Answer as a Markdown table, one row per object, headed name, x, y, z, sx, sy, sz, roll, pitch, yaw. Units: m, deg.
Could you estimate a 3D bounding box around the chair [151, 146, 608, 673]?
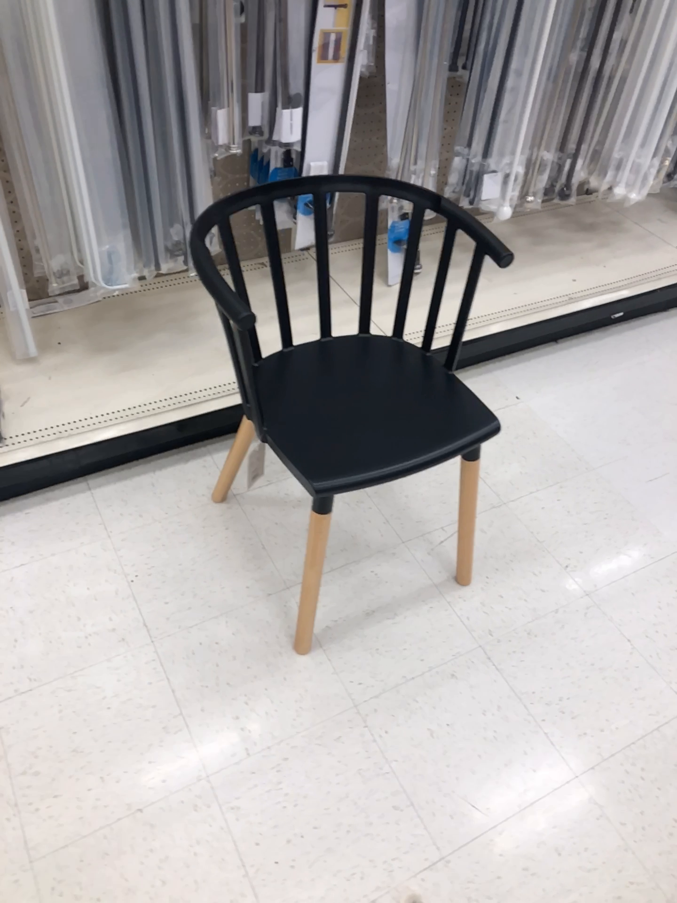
| name | x | y | z | sx | sy | sz | roll | pitch | yaw |
| --- | --- | --- | --- | --- | --- | --- | --- | --- | --- |
| chair | 0.017 | -0.093 | 1.461 | 0.535 | 0.730 | 0.569 | -17 | 48 | -23 |
